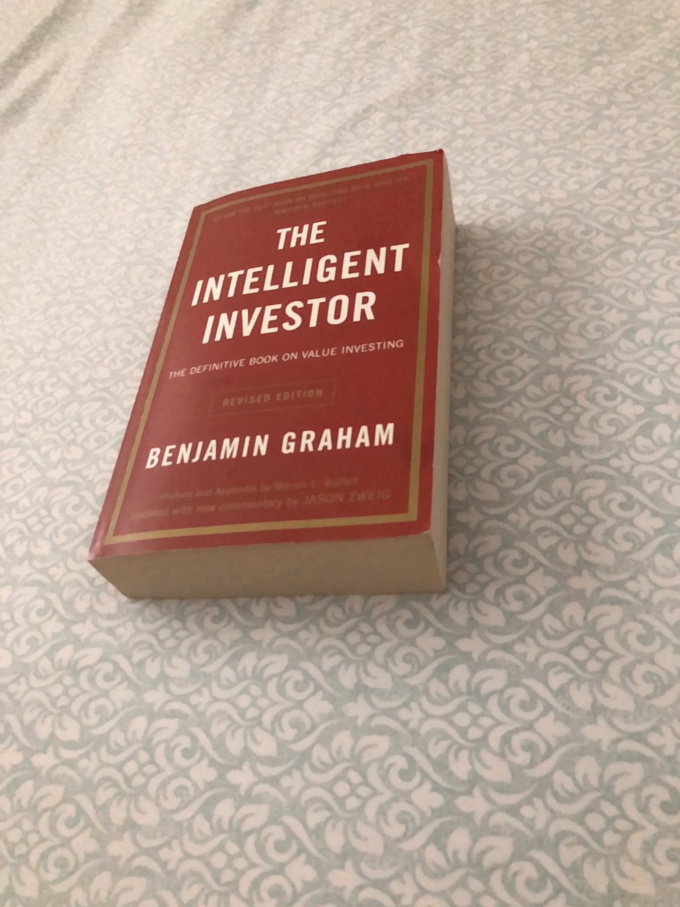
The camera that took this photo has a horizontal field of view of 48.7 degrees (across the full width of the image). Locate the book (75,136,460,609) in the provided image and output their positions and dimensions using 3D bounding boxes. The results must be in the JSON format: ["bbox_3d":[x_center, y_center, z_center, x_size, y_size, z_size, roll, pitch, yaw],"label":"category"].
[{"bbox_3d":[-0.018,-0.040,0.325,0.130,0.050,0.200,-6,56,18],"label":"book"}]
